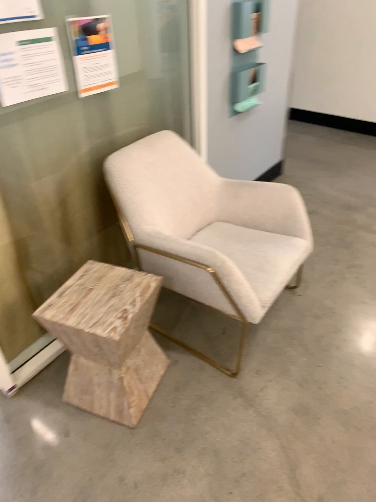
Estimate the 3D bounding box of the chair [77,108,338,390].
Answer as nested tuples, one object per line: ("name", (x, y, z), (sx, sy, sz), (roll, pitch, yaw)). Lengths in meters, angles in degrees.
("chair", (0.121, -0.084, 1.795), (0.772, 0.865, 0.783), (19, 39, 27))
